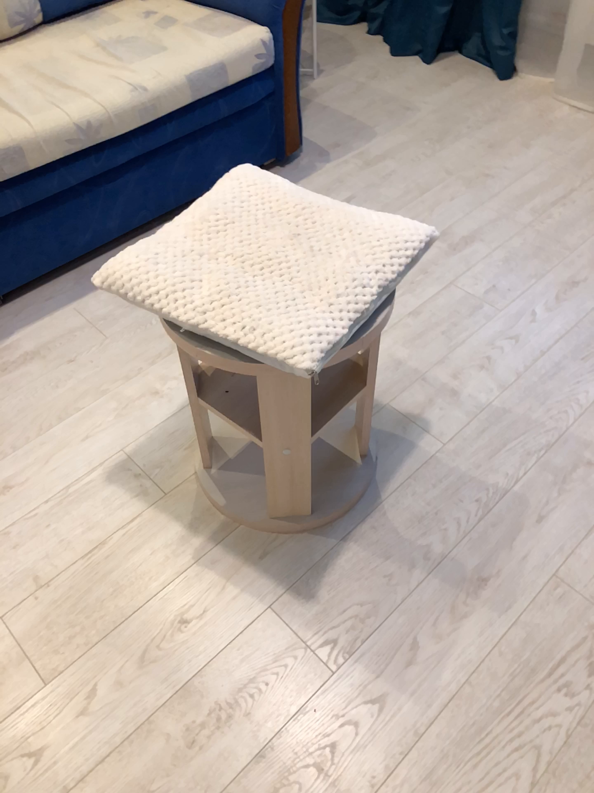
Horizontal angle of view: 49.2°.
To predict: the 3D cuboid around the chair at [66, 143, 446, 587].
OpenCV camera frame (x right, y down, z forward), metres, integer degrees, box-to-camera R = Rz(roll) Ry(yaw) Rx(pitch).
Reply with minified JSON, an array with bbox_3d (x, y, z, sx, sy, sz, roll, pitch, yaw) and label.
[{"bbox_3d":[-0.058,-0.048,1.140,0.381,0.546,0.401,-34,56,-25],"label":"chair"}]
